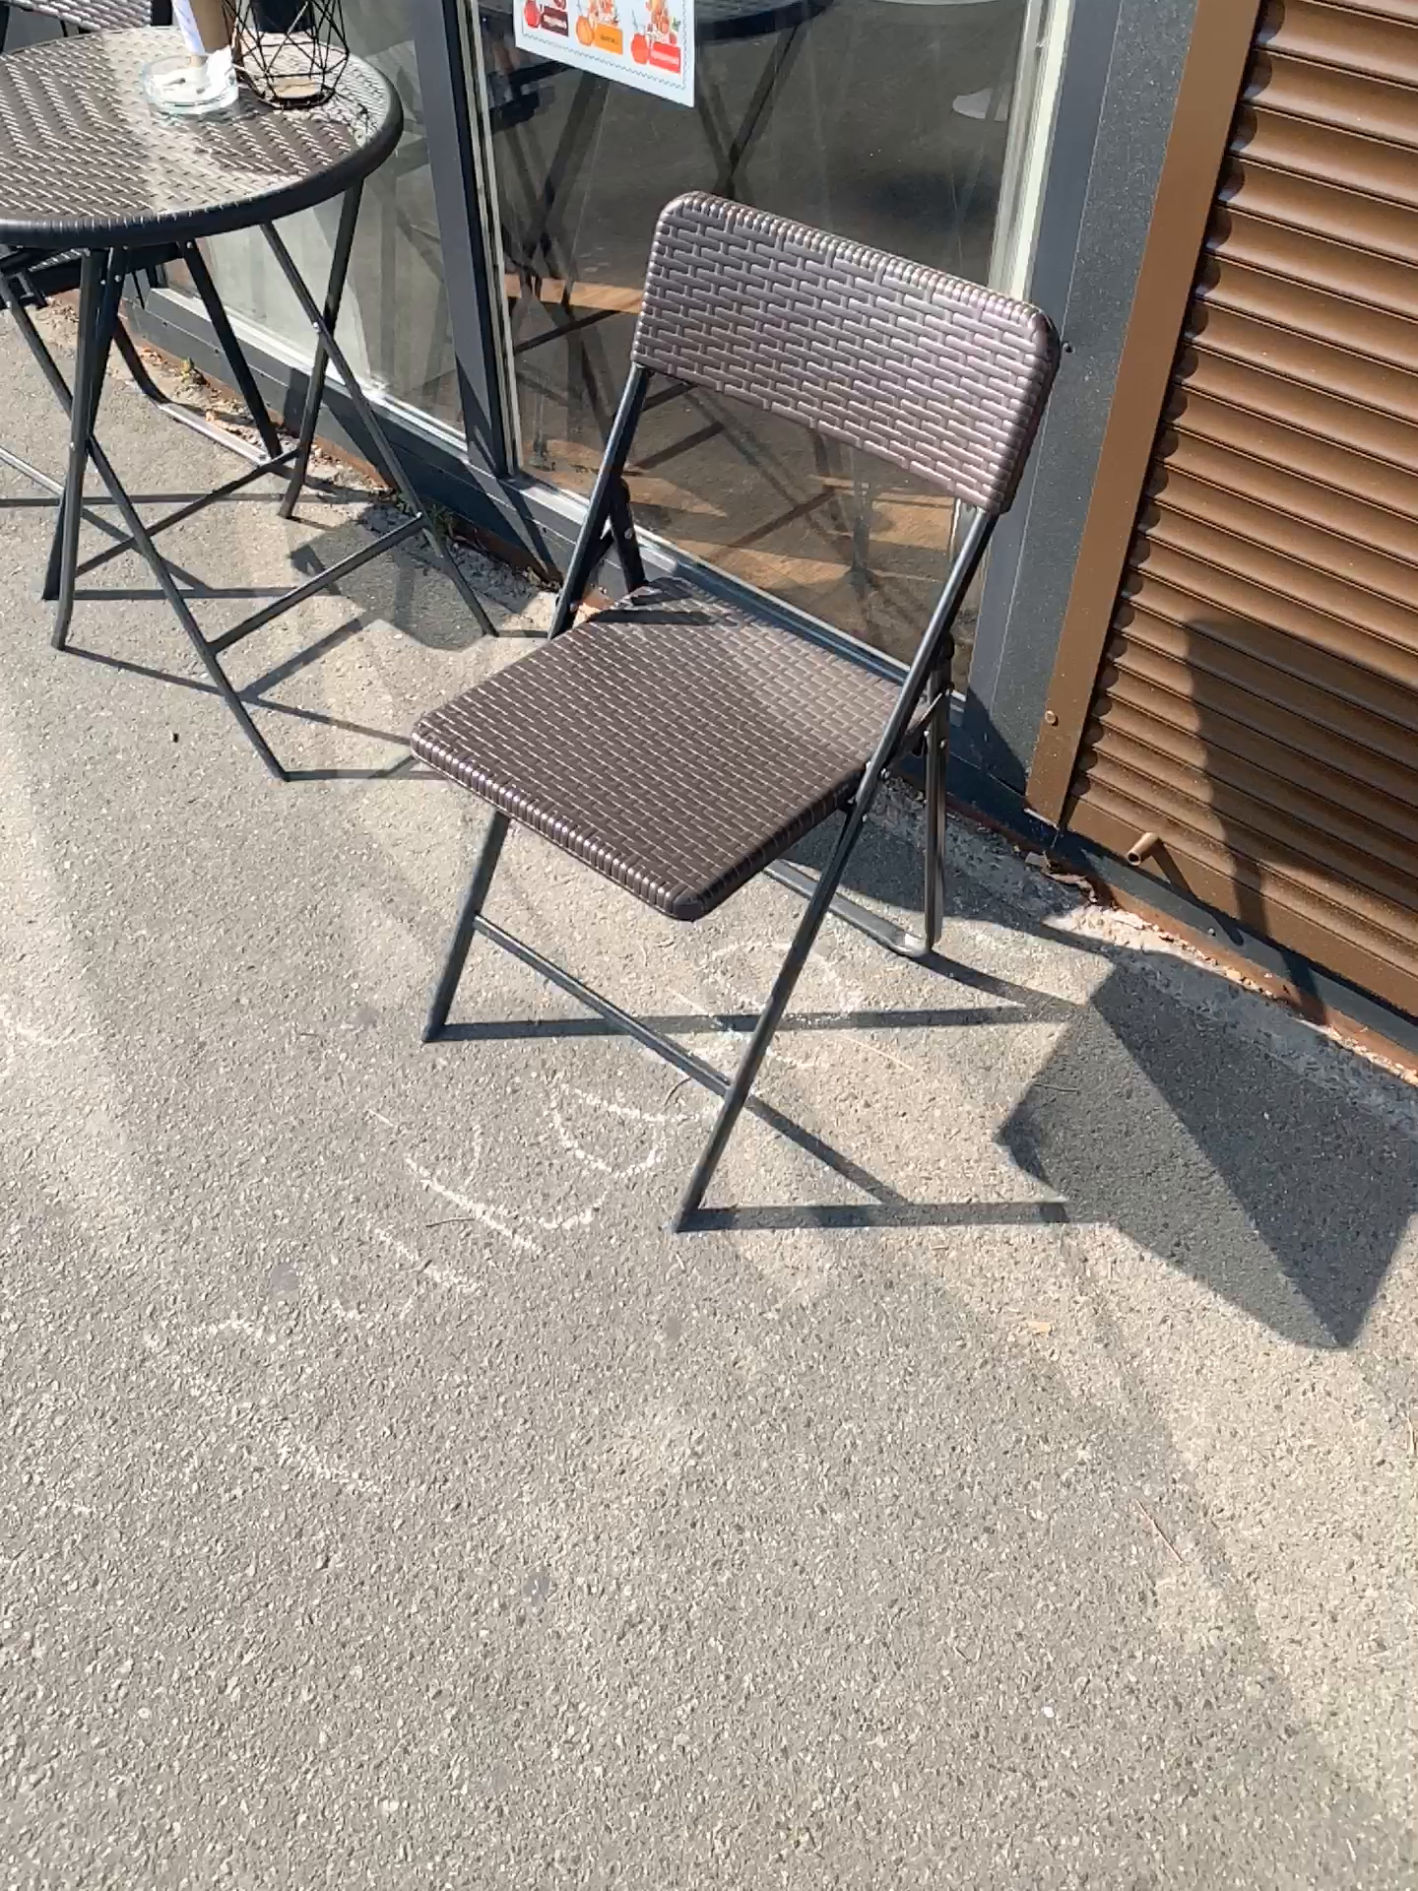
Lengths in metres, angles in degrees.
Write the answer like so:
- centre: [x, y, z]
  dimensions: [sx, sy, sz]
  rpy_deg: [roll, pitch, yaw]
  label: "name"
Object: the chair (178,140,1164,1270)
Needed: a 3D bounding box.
- centre: [-0.018, -0.225, 1.404]
  dimensions: [0.481, 0.767, 0.611]
  rpy_deg: [33, 55, 25]
  label: "chair"
